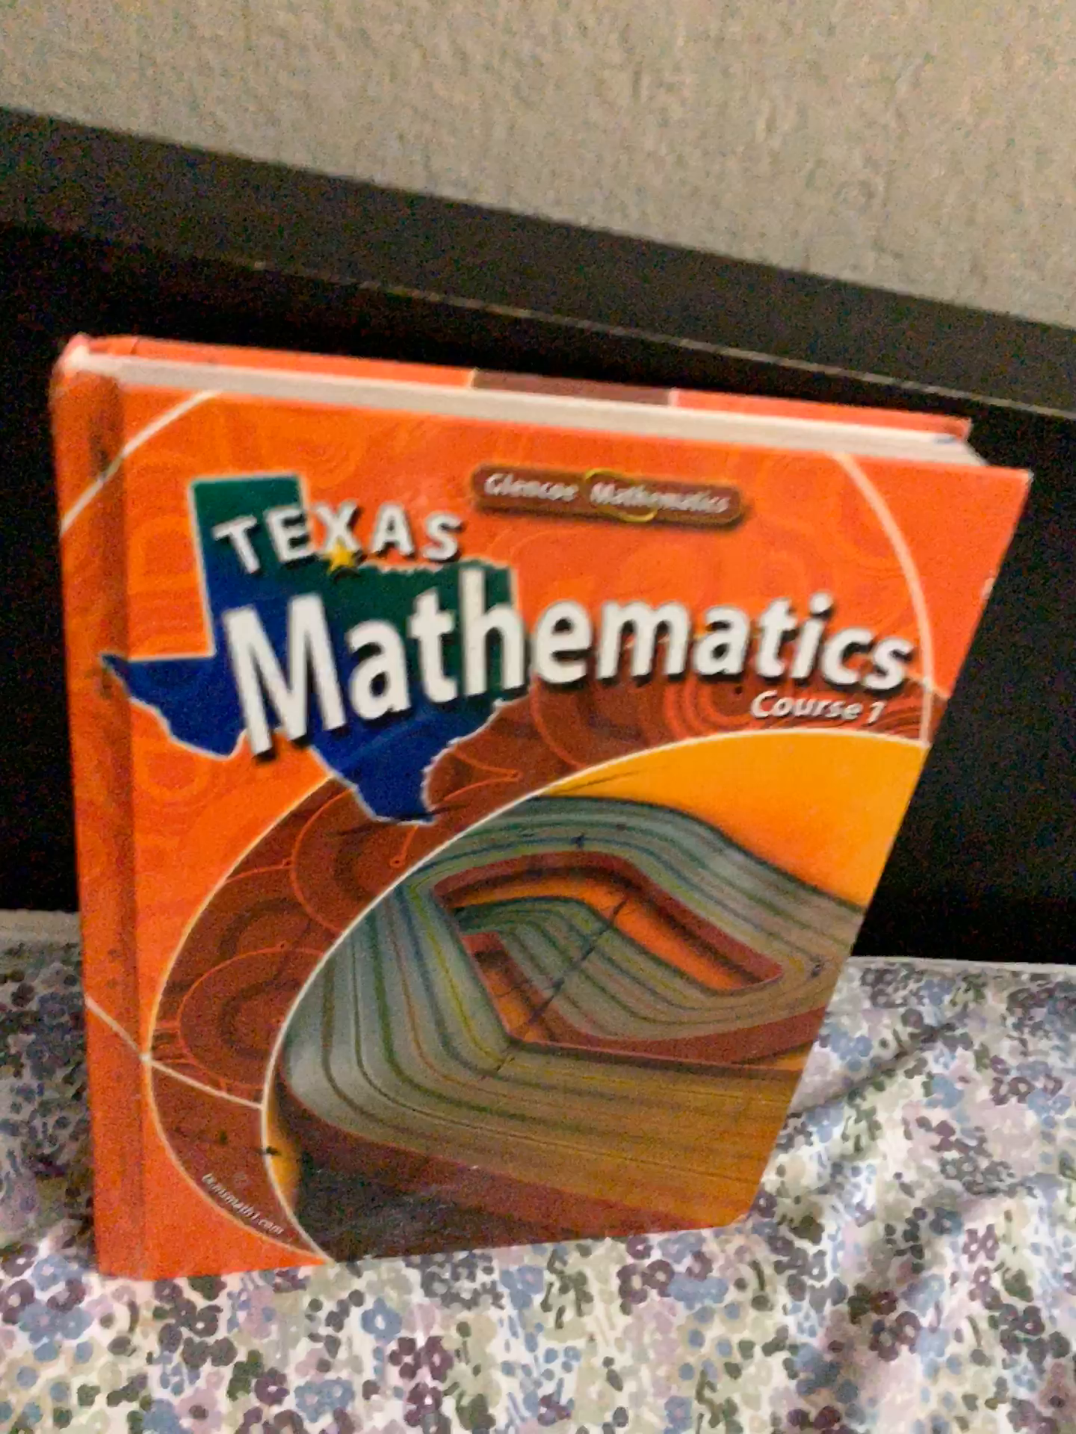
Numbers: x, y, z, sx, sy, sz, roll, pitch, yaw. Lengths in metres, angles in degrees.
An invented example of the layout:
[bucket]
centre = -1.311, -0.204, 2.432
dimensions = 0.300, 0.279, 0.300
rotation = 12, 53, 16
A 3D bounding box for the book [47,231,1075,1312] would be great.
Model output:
[book]
centre = -0.002, 0.045, 0.310
dimensions = 0.230, 0.299, 0.050
rotation = 1, 34, -18
